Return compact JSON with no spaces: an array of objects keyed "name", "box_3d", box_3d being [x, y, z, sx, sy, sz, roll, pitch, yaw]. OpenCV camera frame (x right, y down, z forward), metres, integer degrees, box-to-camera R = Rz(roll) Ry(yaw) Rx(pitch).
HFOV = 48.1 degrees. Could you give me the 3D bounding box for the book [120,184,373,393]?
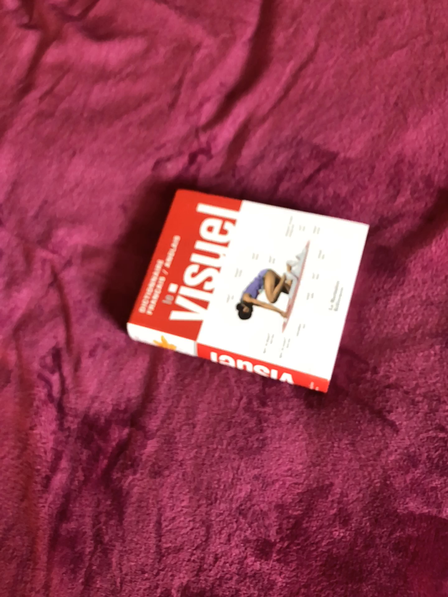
[{"name":"book","box_3d":[0.021,-0.013,0.436,0.180,0.039,0.140,14,73,14]}]
